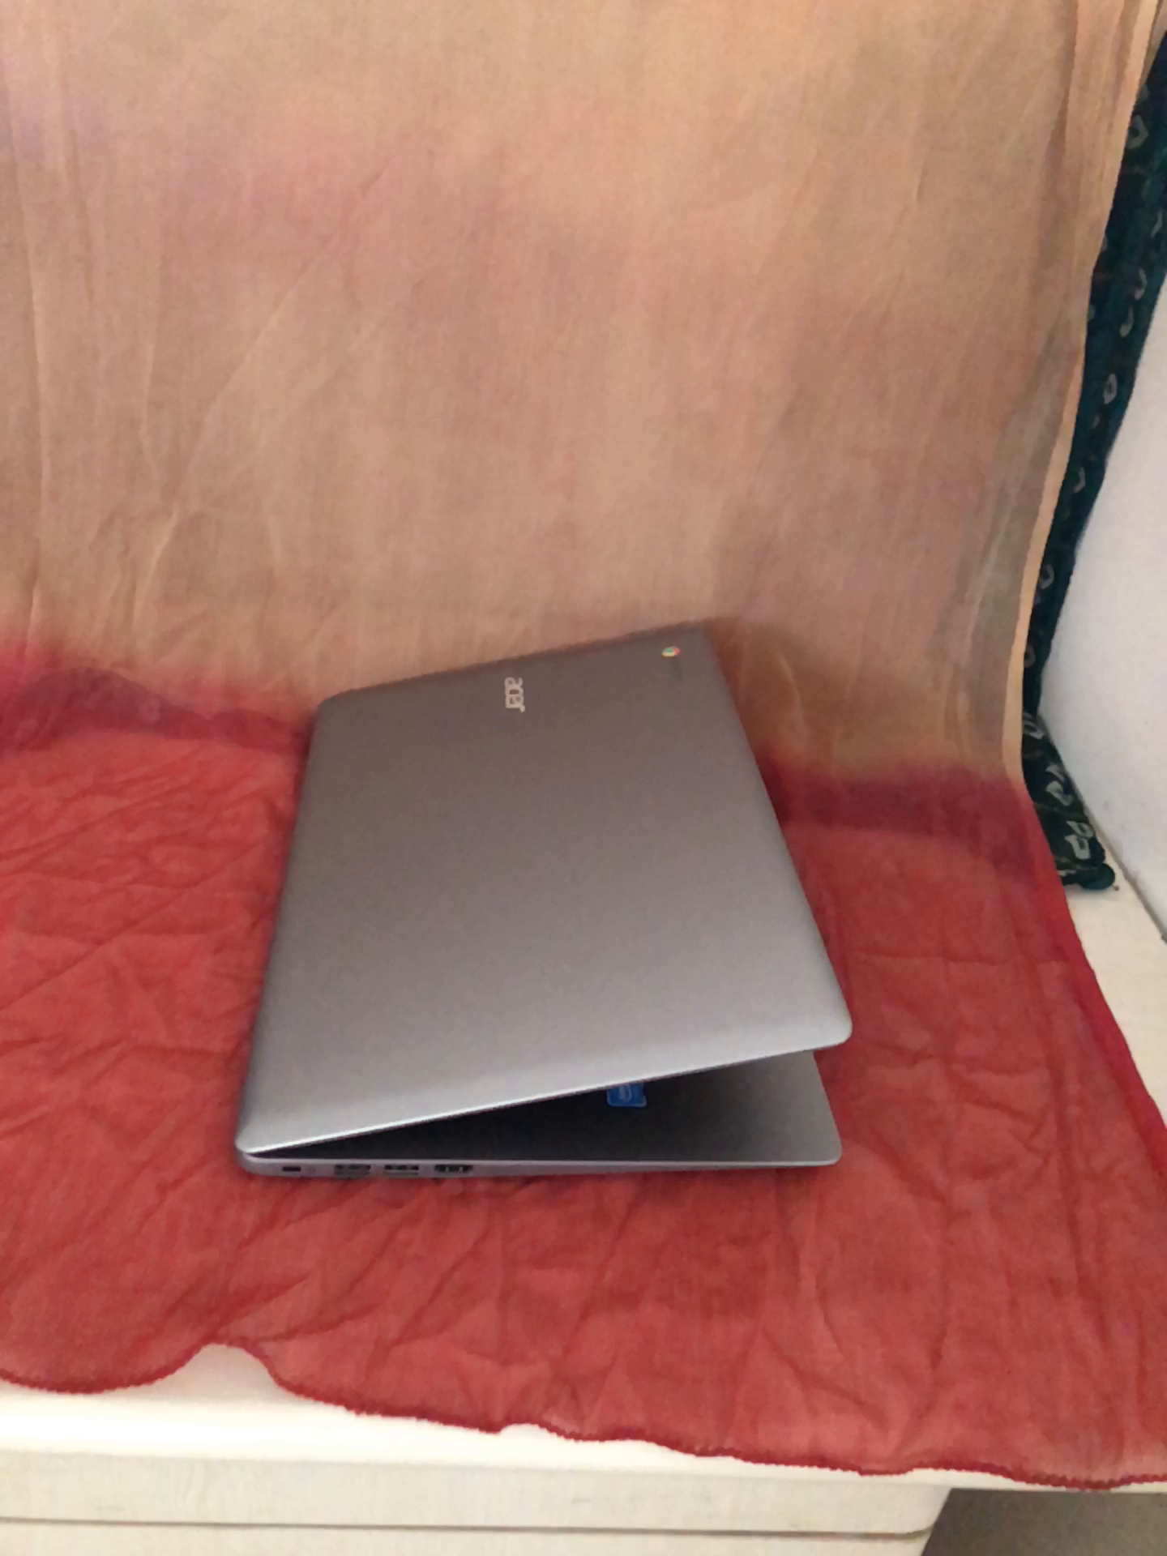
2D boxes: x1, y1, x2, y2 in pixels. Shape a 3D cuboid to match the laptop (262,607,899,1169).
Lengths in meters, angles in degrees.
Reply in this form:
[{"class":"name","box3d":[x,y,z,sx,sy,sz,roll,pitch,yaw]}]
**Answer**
[{"class":"laptop","box3d":[-0.014,0.027,0.591,0.219,0.065,0.324,2,33,-6]}]
